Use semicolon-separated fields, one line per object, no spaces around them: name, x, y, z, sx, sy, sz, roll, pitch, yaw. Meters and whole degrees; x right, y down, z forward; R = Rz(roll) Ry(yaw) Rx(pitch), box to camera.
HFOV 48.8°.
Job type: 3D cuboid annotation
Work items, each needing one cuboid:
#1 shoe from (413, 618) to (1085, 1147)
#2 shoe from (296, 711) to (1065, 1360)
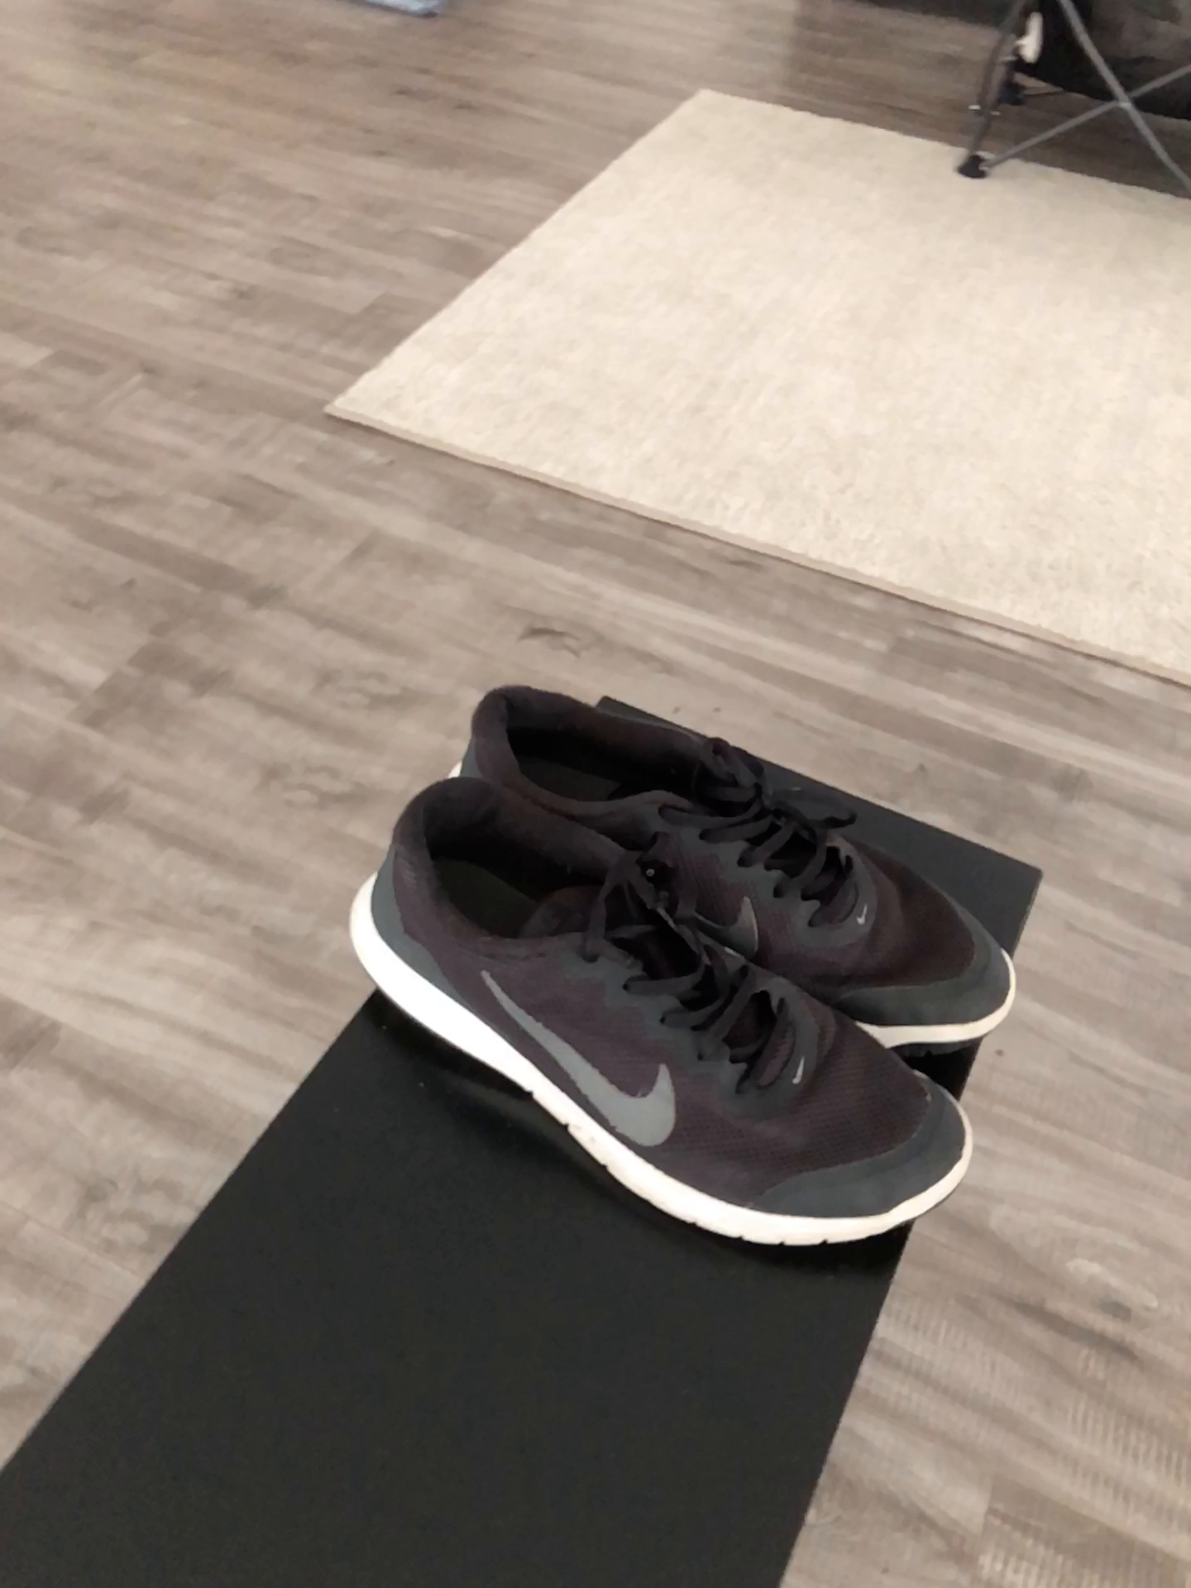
shoe;0.064;0.036;0.623;0.280;0.110;0.110;22;49;14
shoe;0.026;0.091;0.542;0.280;0.100;0.110;27;50;15
